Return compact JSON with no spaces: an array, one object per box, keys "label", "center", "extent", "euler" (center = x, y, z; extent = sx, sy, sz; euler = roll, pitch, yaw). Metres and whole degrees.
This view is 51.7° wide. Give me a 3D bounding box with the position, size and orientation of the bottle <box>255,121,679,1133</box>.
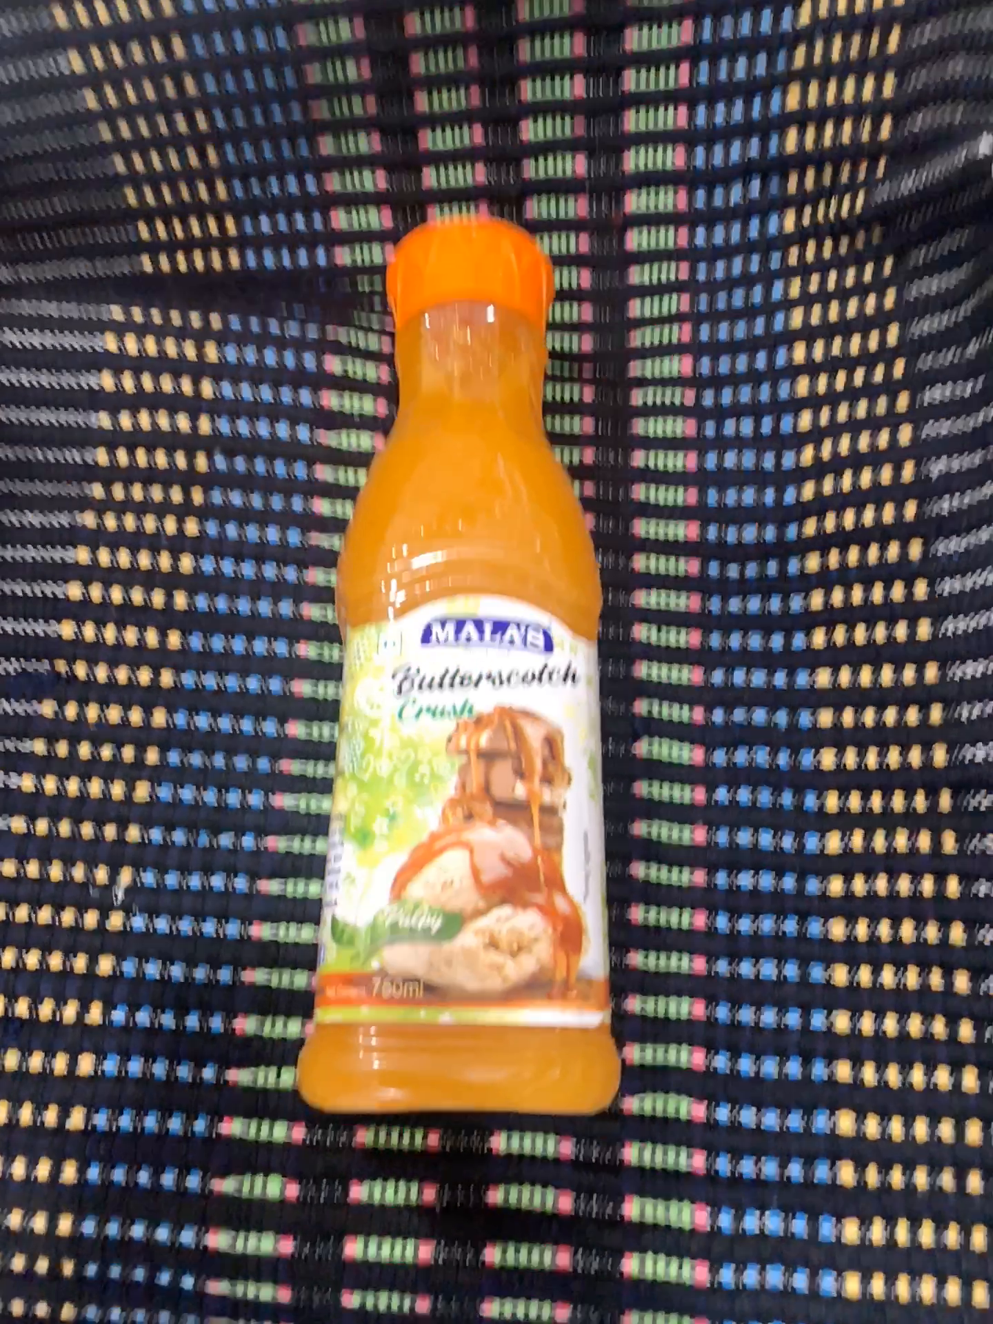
[{"label":"bottle","center":[-0.005,-0.023,0.254],"extent":[0.070,0.060,0.250],"euler":[3,62,-4]}]
